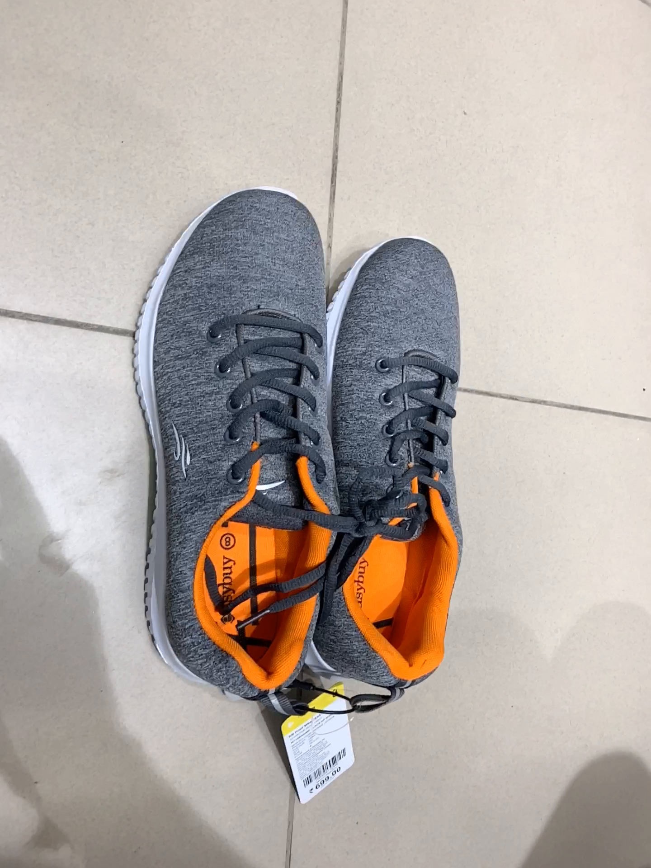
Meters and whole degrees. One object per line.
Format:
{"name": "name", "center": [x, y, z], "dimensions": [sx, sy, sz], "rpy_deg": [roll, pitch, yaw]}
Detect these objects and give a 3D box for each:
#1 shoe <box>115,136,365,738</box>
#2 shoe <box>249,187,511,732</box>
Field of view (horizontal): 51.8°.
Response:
{"name": "shoe", "center": [-0.049, 0.002, 0.374], "dimensions": [0.100, 0.090, 0.280], "rpy_deg": [4, 86, -28]}
{"name": "shoe", "center": [0.035, 0.017, 0.428], "dimensions": [0.100, 0.090, 0.300], "rpy_deg": [11, 83, -27]}
